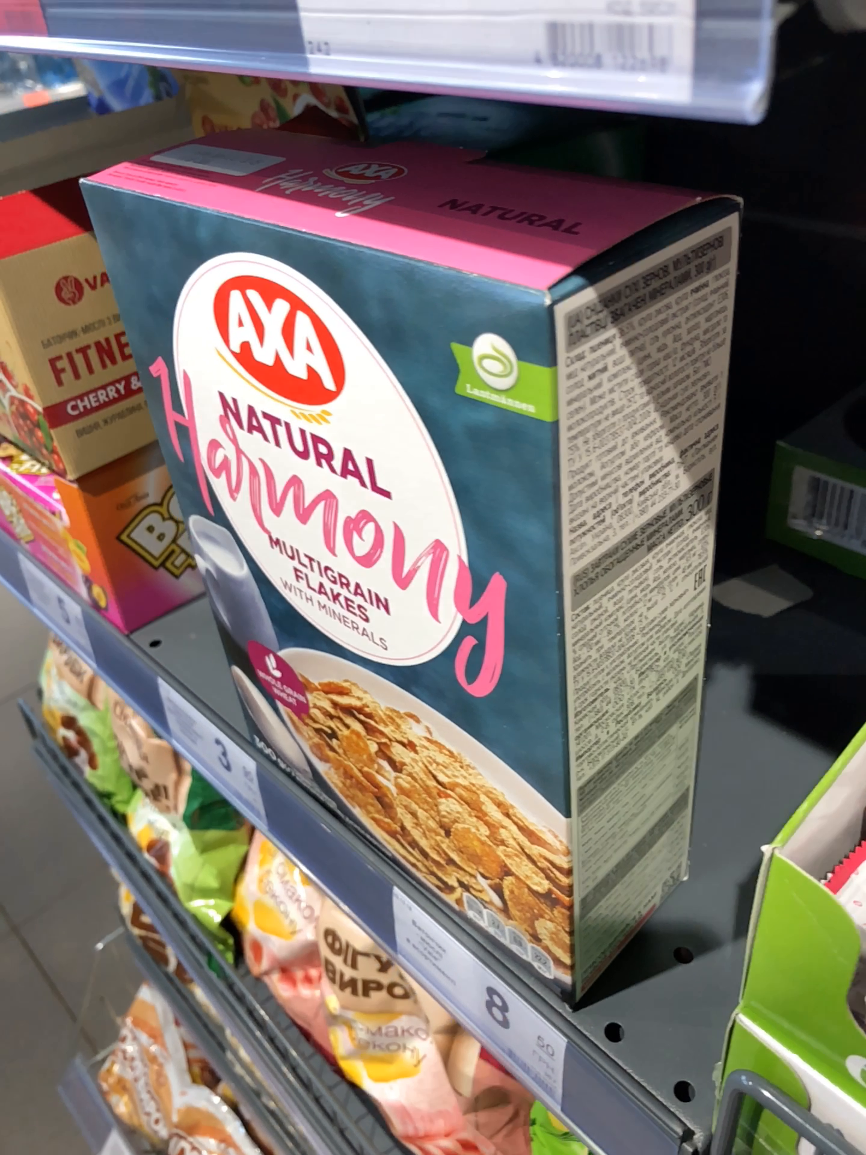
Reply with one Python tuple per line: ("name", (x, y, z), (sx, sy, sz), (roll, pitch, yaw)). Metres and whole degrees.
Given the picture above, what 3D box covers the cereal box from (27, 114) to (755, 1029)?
("cereal box", (-0.012, -0.007, 0.291), (0.070, 0.218, 0.181), (-33, 43, -31))
